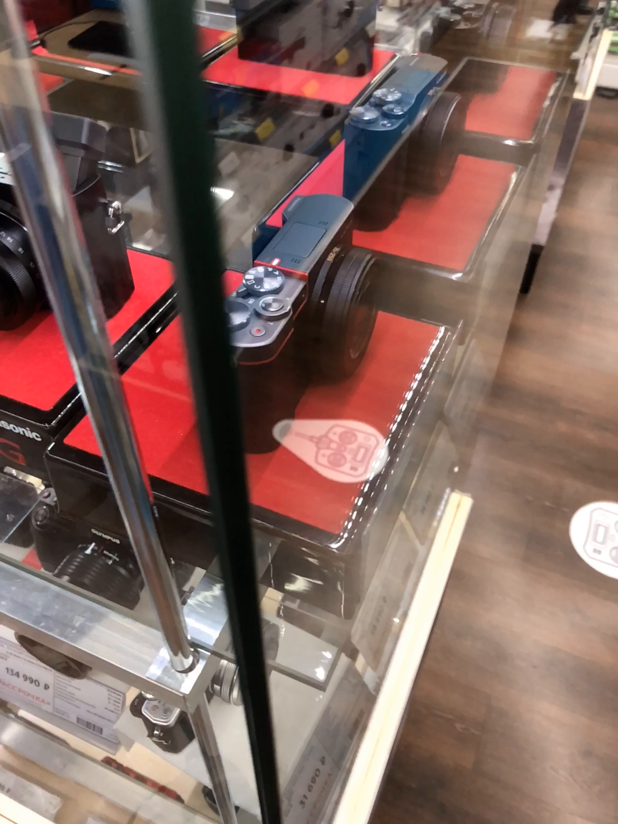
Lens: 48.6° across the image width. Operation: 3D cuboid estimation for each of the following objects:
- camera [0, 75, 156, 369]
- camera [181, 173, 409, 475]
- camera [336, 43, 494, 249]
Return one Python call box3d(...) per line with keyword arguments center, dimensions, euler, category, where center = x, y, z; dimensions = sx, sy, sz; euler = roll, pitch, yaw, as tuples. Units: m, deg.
box3d(center=(-0.152, -0.095, 0.343), dimensions=(0.113, 0.101, 0.069), euler=(17, 48, 15), category="camera")
box3d(center=(-0.001, -0.043, 0.302), dimensions=(0.050, 0.070, 0.113), euler=(18, 49, 16), category="camera")
box3d(center=(0.064, -0.164, 0.415), dimensions=(0.051, 0.070, 0.113), euler=(20, 49, 17), category="camera")
